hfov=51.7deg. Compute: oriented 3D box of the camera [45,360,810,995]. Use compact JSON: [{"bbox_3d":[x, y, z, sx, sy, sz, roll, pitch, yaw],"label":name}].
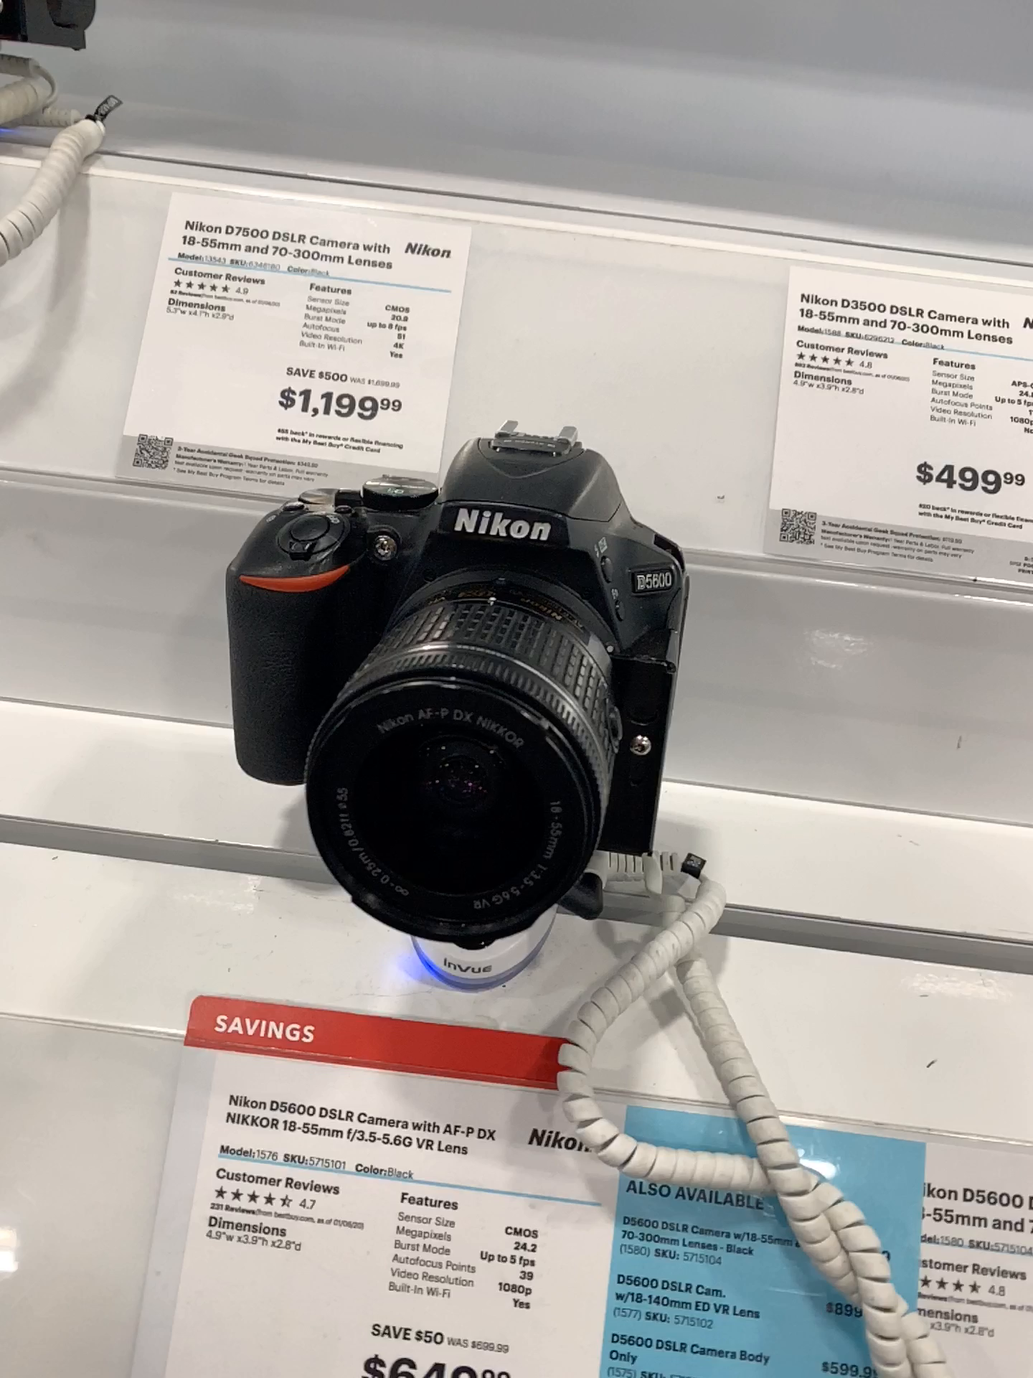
[{"bbox_3d":[-0.014,-0.014,0.252,0.130,0.090,0.121,8,26,3],"label":"camera"}]
